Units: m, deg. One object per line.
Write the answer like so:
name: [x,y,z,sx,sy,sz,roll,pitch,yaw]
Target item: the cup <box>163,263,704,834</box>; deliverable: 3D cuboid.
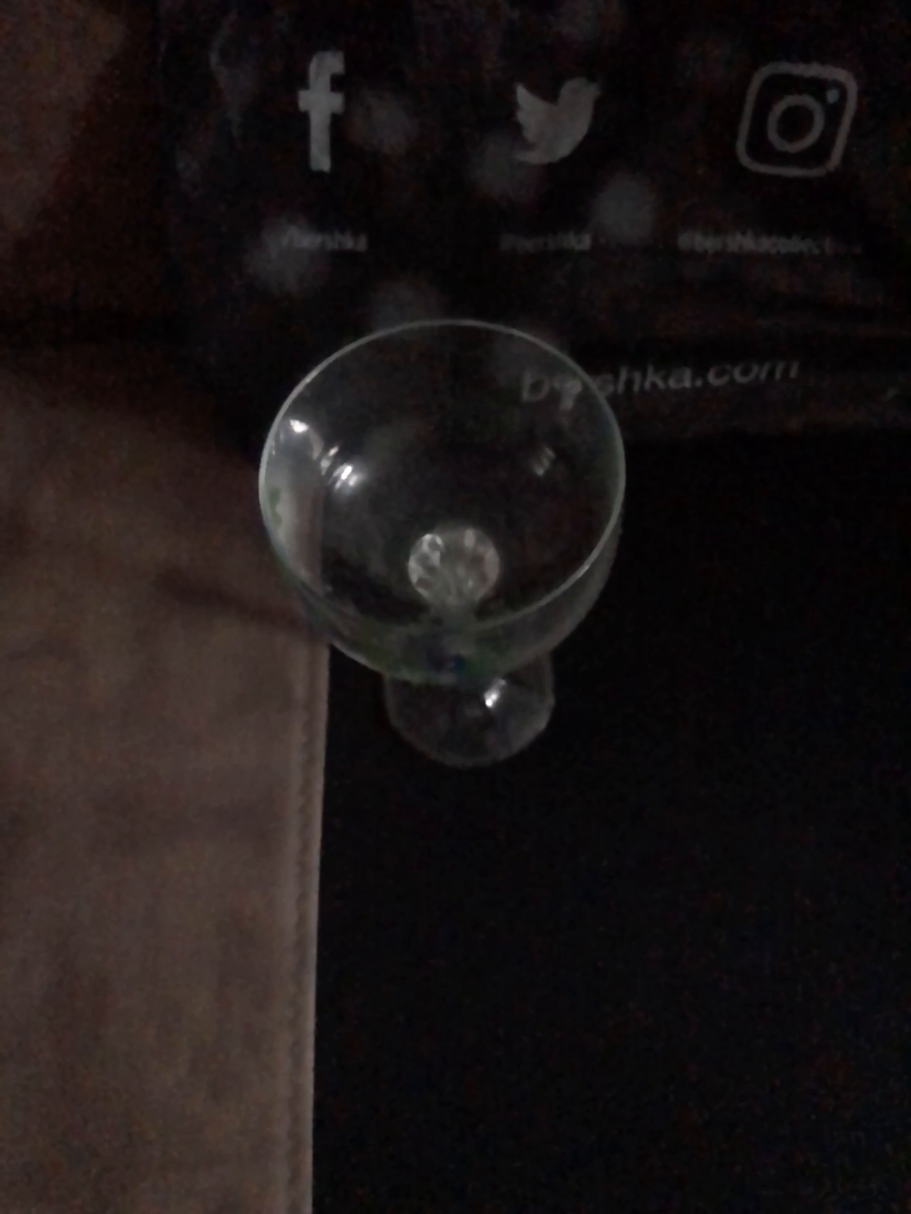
cup: [-0.002,-0.005,0.304,0.096,0.147,0.085,27,72,11]
